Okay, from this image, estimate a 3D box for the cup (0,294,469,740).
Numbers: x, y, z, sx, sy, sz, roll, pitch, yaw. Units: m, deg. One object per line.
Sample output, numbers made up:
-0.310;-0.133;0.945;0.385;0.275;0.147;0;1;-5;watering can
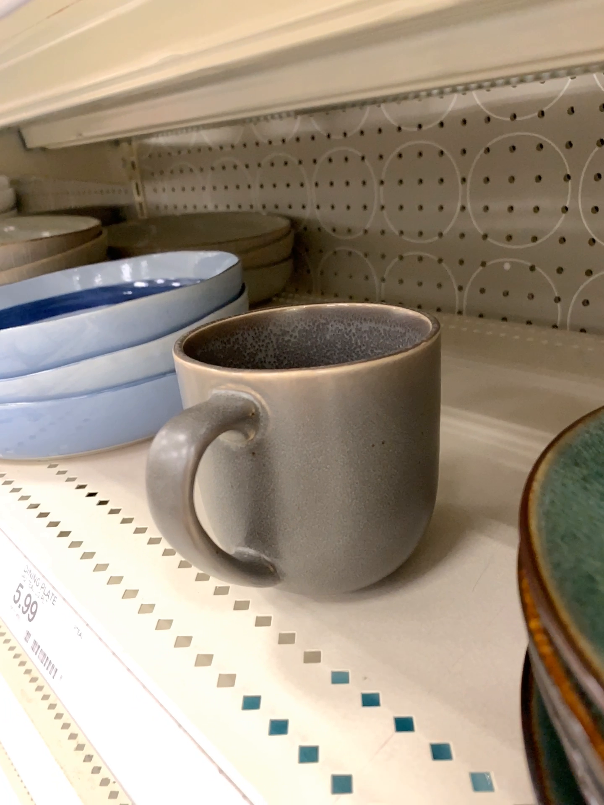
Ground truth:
-0.008;0.018;0.217;0.100;0.080;0.130;6;25;26;cup
